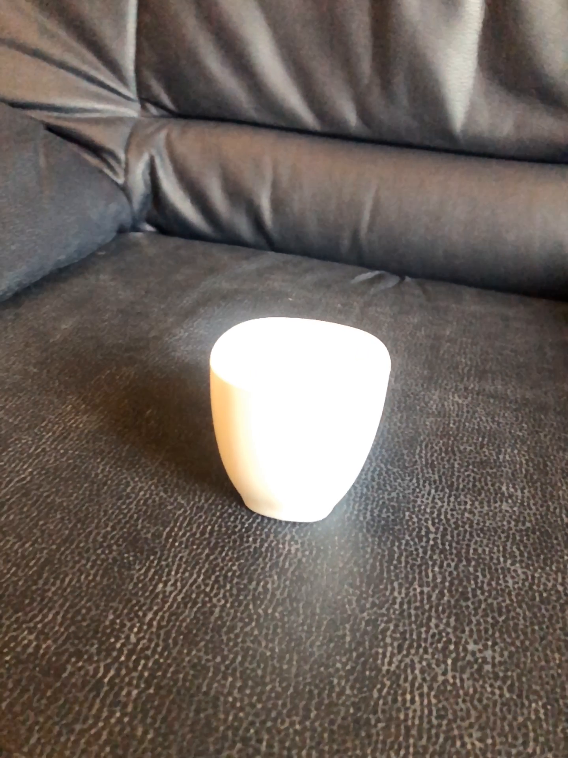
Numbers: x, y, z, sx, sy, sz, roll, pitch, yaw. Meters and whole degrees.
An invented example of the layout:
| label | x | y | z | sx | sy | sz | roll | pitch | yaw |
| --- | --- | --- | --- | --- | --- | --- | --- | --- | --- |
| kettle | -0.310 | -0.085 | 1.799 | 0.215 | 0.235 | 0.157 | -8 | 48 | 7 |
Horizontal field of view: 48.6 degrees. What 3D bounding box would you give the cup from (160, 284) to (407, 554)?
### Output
| label | x | y | z | sx | sy | sz | roll | pitch | yaw |
| --- | --- | --- | --- | --- | --- | --- | --- | --- | --- |
| cup | 0.004 | 0.010 | 0.285 | 0.080 | 0.063 | 0.102 | 12 | 31 | 13 |
